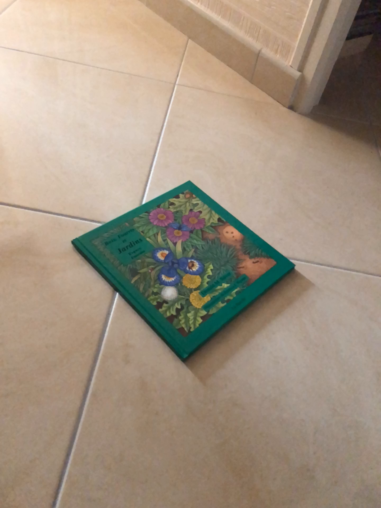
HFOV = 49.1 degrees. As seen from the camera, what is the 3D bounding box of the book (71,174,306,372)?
[{"bbox_3d":[0.000,0.004,0.607,0.241,0.030,0.240,-33,63,-32],"label":"book"}]
